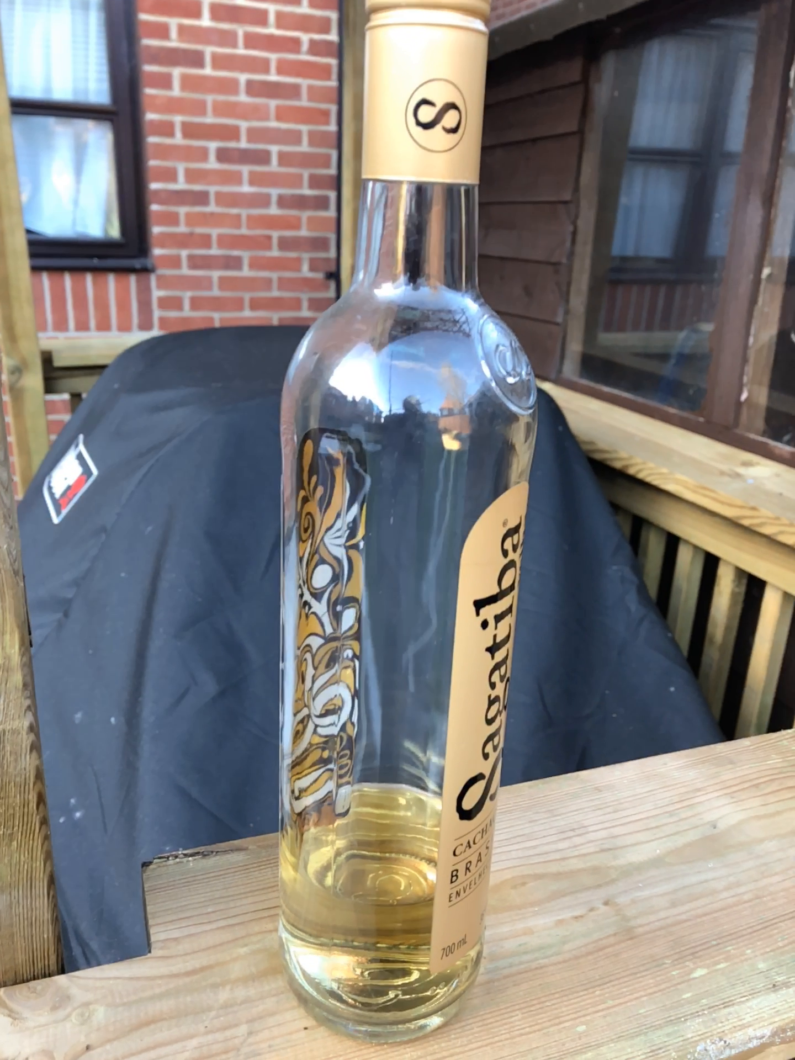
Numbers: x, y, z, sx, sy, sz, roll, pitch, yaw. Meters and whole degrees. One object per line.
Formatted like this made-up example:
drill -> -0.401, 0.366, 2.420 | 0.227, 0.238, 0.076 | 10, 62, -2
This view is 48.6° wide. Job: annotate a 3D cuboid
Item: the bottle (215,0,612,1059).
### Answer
bottle -> 0.002, 0.009, 0.262 | 0.060, 0.328, 0.080 | 15, 22, 34
